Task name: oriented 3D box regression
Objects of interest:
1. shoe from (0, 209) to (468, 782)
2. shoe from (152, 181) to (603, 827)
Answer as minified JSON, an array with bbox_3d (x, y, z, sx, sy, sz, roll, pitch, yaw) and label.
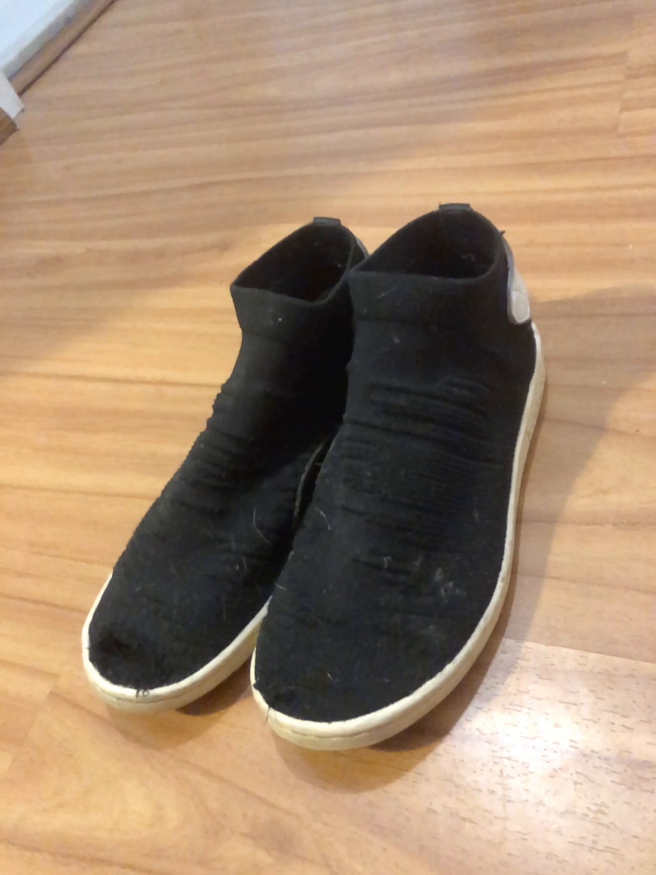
[{"bbox_3d":[-0.036,0.010,0.365,0.100,0.099,0.261,16,59,31],"label":"shoe"},{"bbox_3d":[0.047,0.007,0.325,0.100,0.099,0.261,8,55,27],"label":"shoe"}]
